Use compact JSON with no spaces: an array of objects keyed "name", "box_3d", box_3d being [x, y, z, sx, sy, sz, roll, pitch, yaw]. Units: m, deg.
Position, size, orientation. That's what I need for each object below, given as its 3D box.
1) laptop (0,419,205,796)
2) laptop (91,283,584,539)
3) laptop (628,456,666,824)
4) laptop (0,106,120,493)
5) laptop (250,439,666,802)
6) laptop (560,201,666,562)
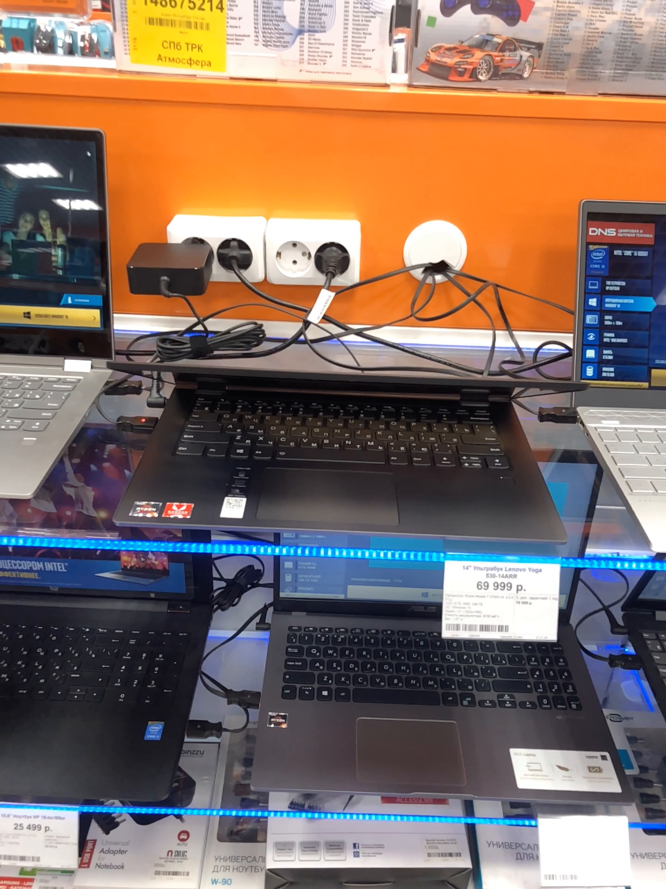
[{"name":"laptop","box_3d":[-0.339,0.148,0.730,0.373,0.223,0.266,3,30,-1]},{"name":"laptop","box_3d":[0.004,-0.039,0.598,0.324,0.102,0.215,3,31,0]},{"name":"laptop","box_3d":[0.528,0.181,0.732,0.344,0.229,0.254,3,30,2]},{"name":"laptop","box_3d":[-0.390,-0.134,0.609,0.311,0.219,0.268,3,31,-1]},{"name":"laptop","box_3d":[0.110,0.166,0.748,0.353,0.236,0.257,2,30,1]},{"name":"laptop","box_3d":[0.383,-0.077,0.614,0.282,0.162,0.319,2,32,3]}]
